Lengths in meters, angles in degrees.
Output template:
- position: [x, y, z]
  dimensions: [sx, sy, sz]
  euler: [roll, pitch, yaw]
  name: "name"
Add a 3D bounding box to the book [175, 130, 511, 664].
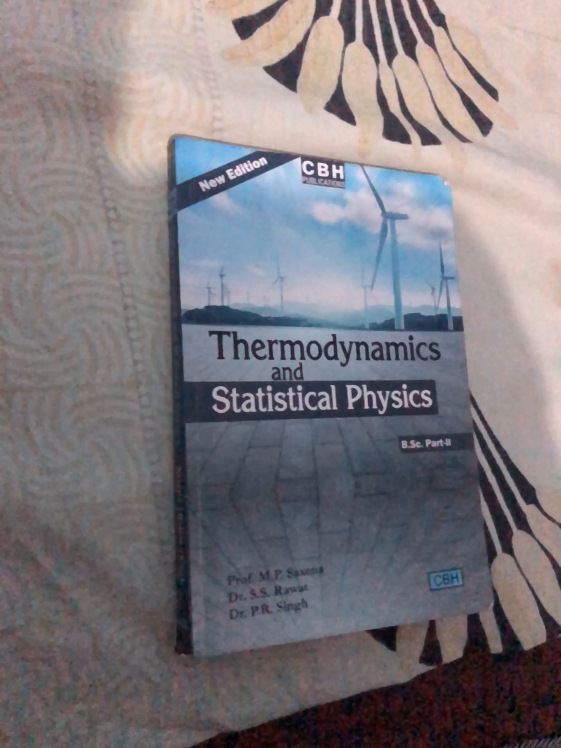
- position: [0.035, 0.008, 0.328]
  dimensions: [0.171, 0.030, 0.240]
  euler: [0, 86, -22]
  name: "book"
